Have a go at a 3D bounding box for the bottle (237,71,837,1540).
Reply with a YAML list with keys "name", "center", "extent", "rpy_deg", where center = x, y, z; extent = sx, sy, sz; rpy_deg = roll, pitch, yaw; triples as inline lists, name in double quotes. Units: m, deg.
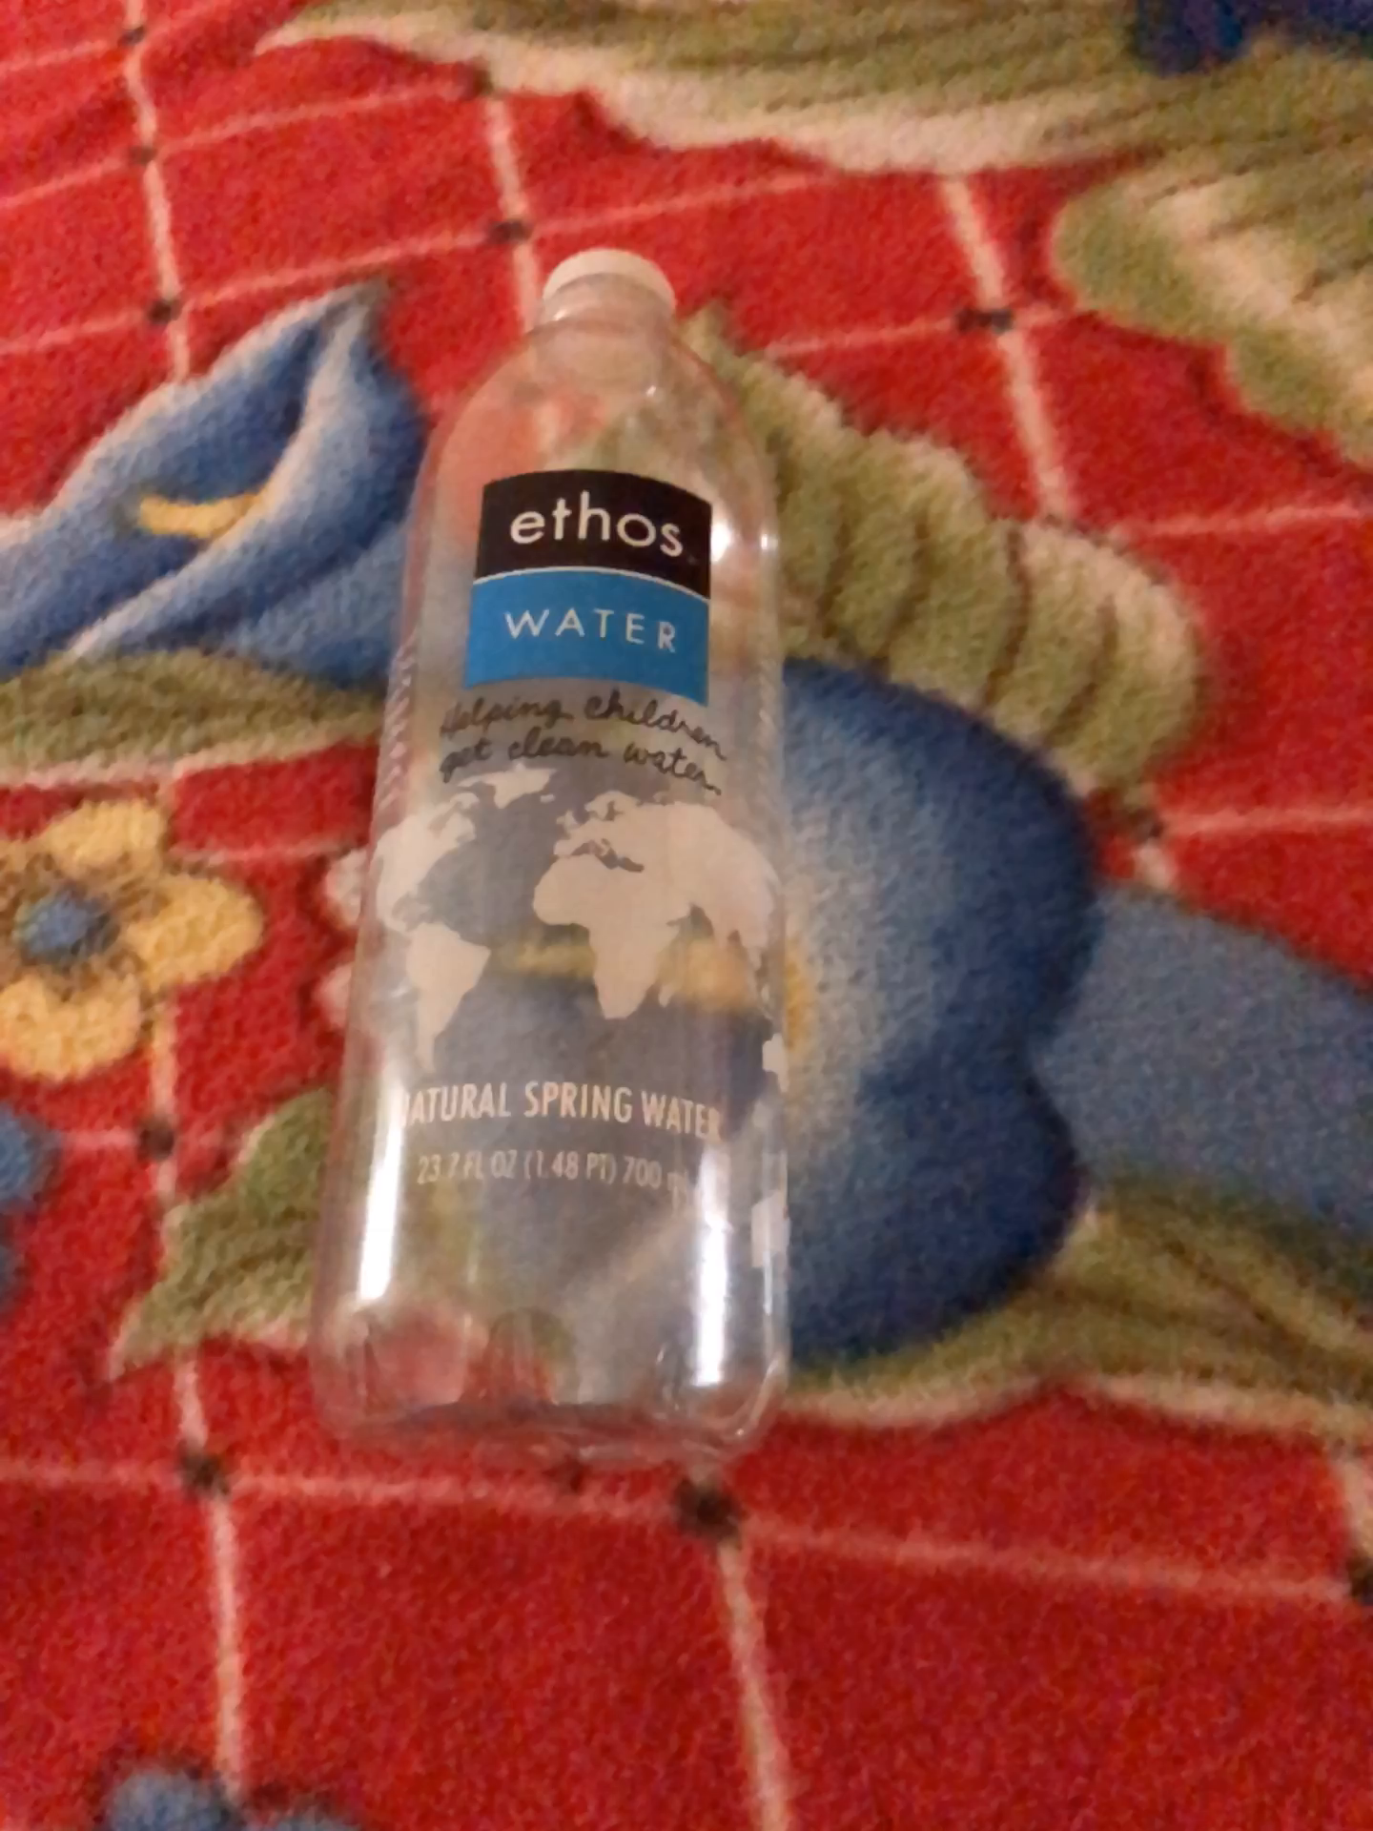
- name: "bottle"
  center: [-0.020, -0.025, 0.260]
  extent: [0.070, 0.070, 0.240]
  rpy_deg: [2, 66, -5]
